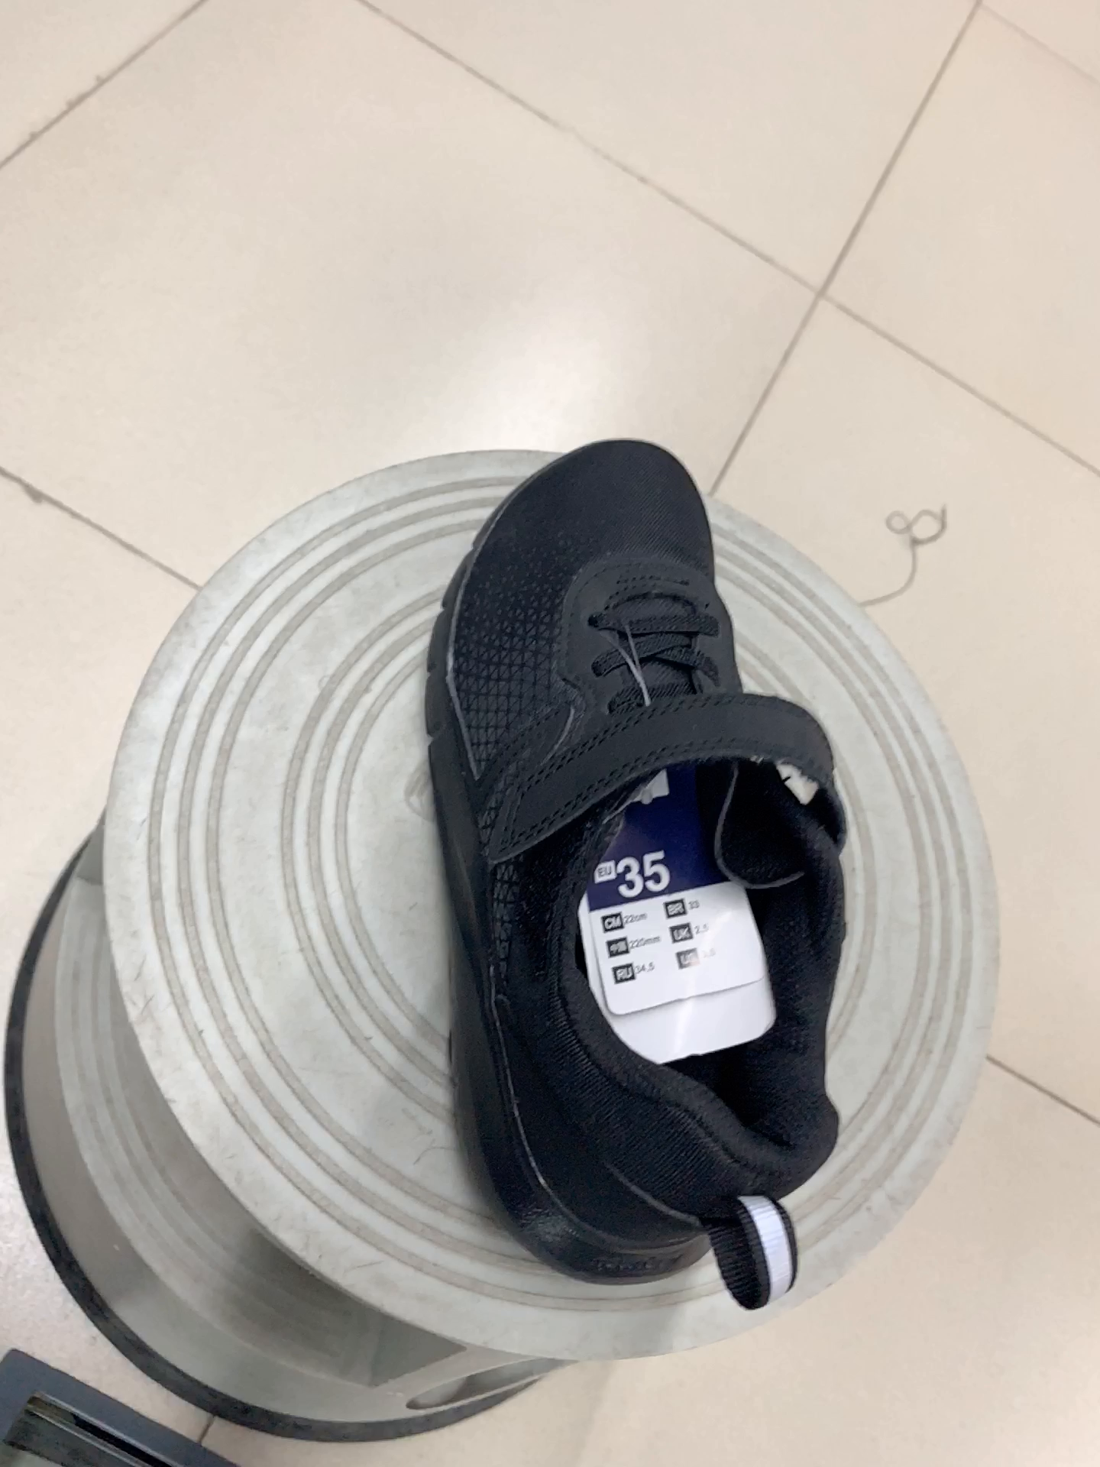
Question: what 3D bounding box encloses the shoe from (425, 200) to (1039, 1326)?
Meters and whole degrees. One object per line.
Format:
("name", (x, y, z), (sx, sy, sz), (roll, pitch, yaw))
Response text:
("shoe", (0.028, 0.001, 0.286), (0.100, 0.080, 0.250), (4, 67, -17))
